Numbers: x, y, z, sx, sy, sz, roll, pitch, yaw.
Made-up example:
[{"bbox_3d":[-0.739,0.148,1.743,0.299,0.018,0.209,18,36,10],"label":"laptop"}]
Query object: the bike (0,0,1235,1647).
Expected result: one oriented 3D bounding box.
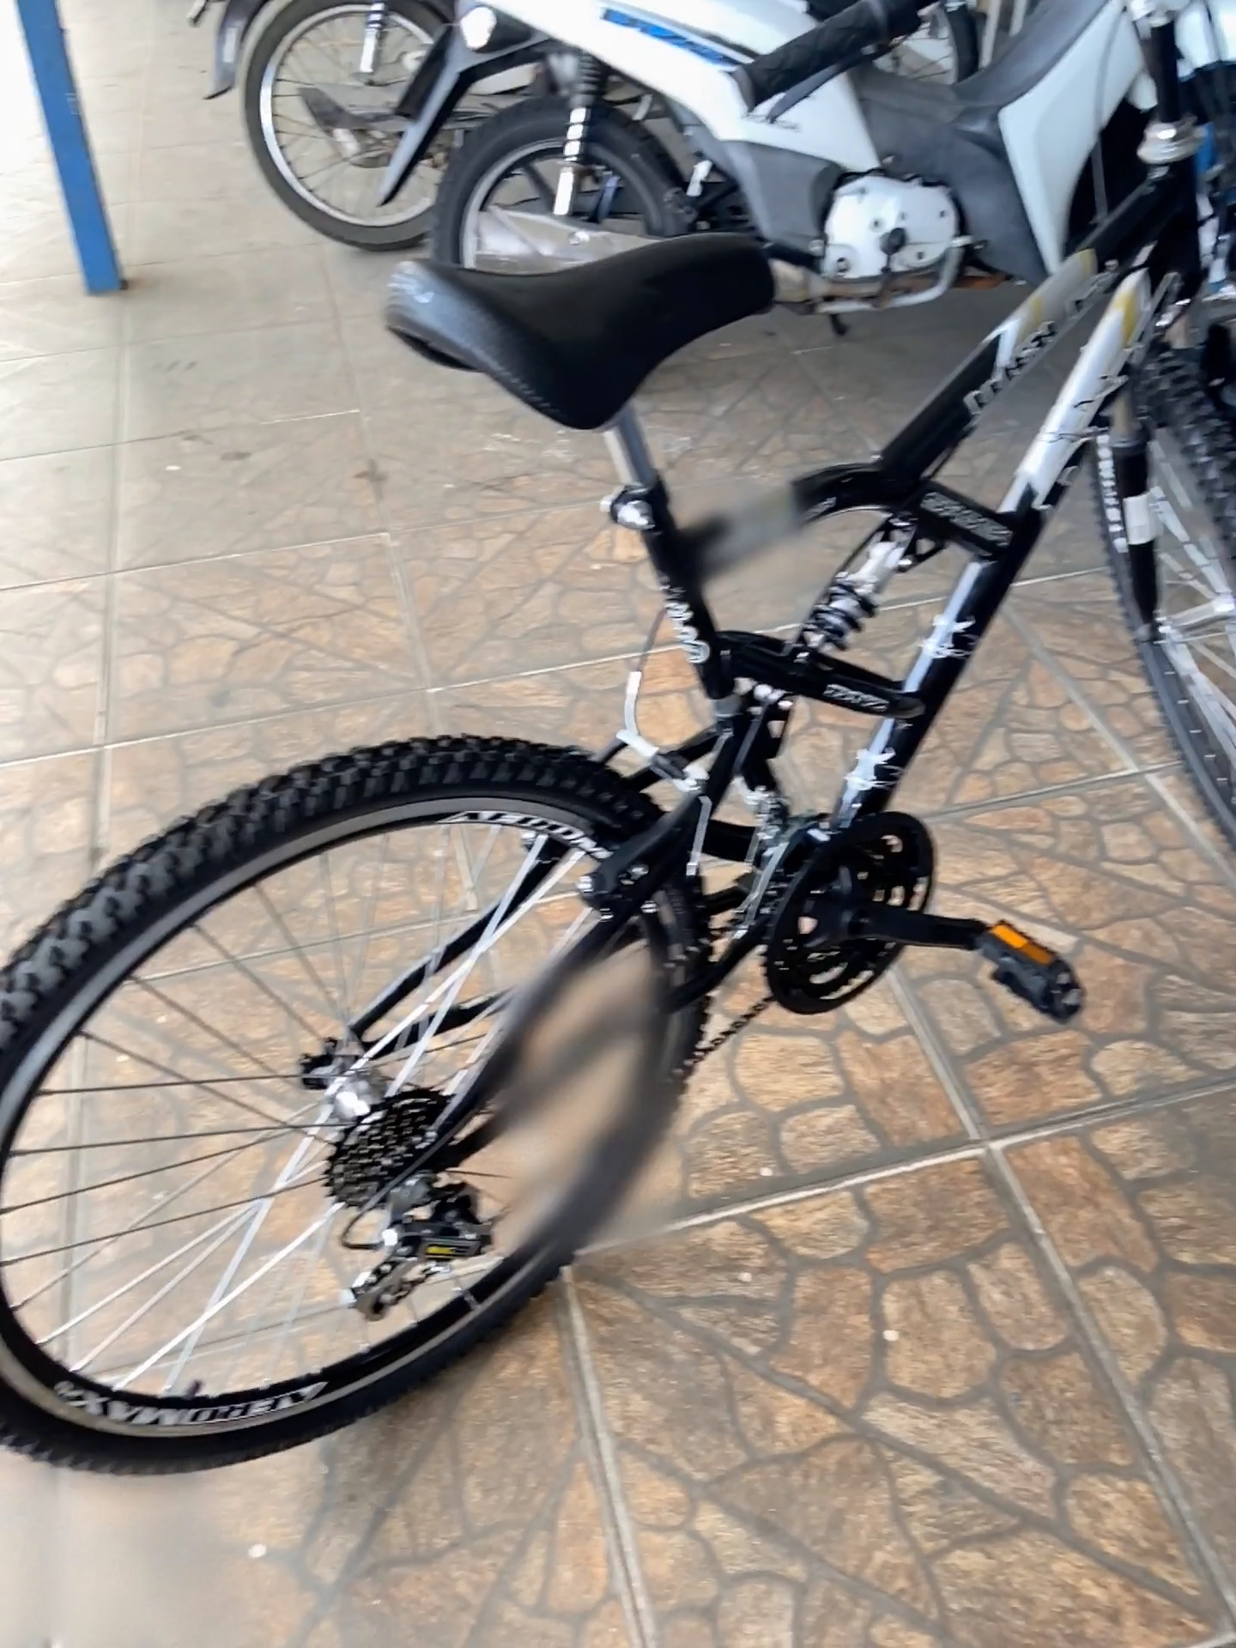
[{"bbox_3d":[0.106,-0.226,1.025,0.604,1.154,1.590,34,57,30],"label":"bike"}]
